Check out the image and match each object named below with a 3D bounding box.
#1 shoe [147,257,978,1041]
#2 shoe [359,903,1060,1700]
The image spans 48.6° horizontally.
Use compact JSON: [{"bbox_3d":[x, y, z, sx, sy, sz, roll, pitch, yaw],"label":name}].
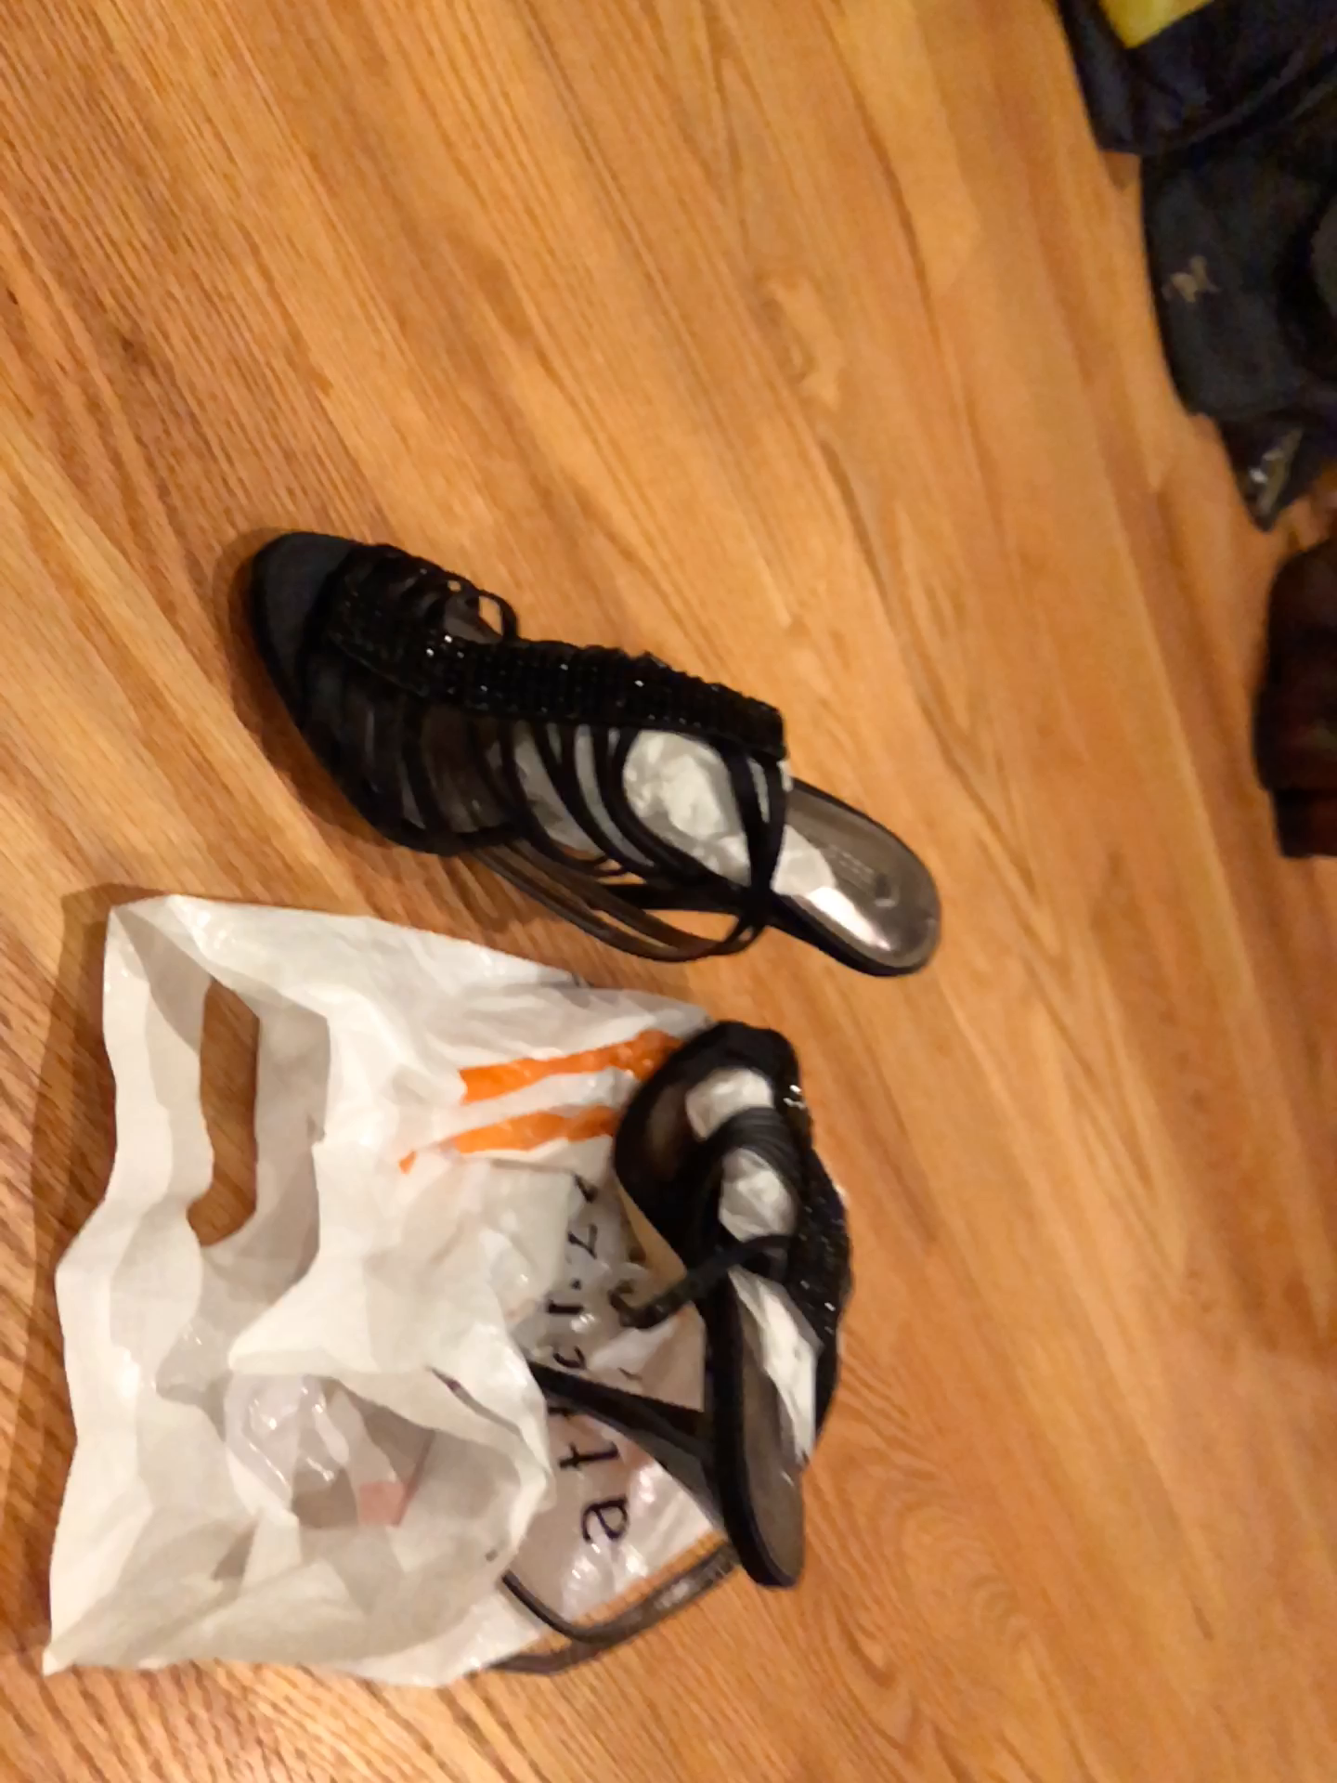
[{"bbox_3d":[-0.013,-0.046,0.422,0.218,0.113,0.090,45,52,-43],"label":"shoe"},{"bbox_3d":[0.028,0.108,0.463,0.218,0.113,0.092,-53,128,-43],"label":"shoe"}]
